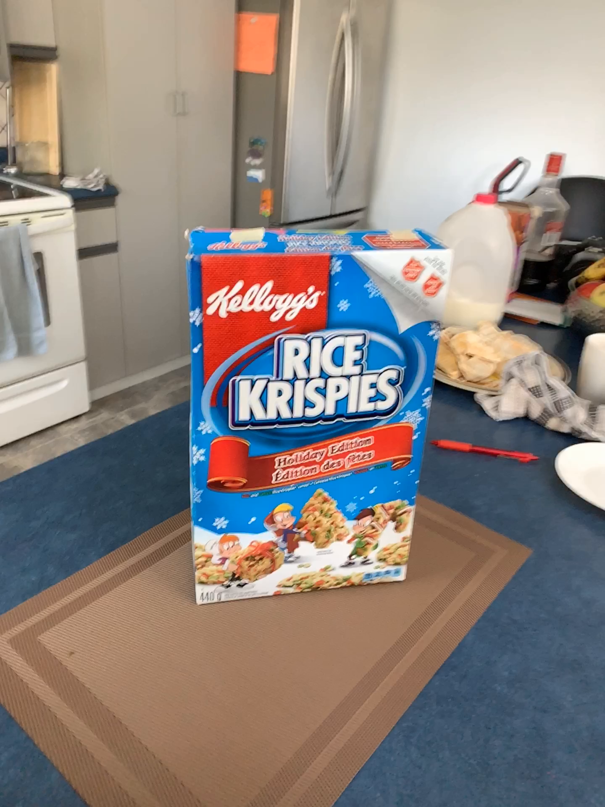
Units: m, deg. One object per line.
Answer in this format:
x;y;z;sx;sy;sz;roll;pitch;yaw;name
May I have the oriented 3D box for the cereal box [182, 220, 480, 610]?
0.010;0.015;0.552;0.220;0.327;0.081;-3;25;-14;cereal box
